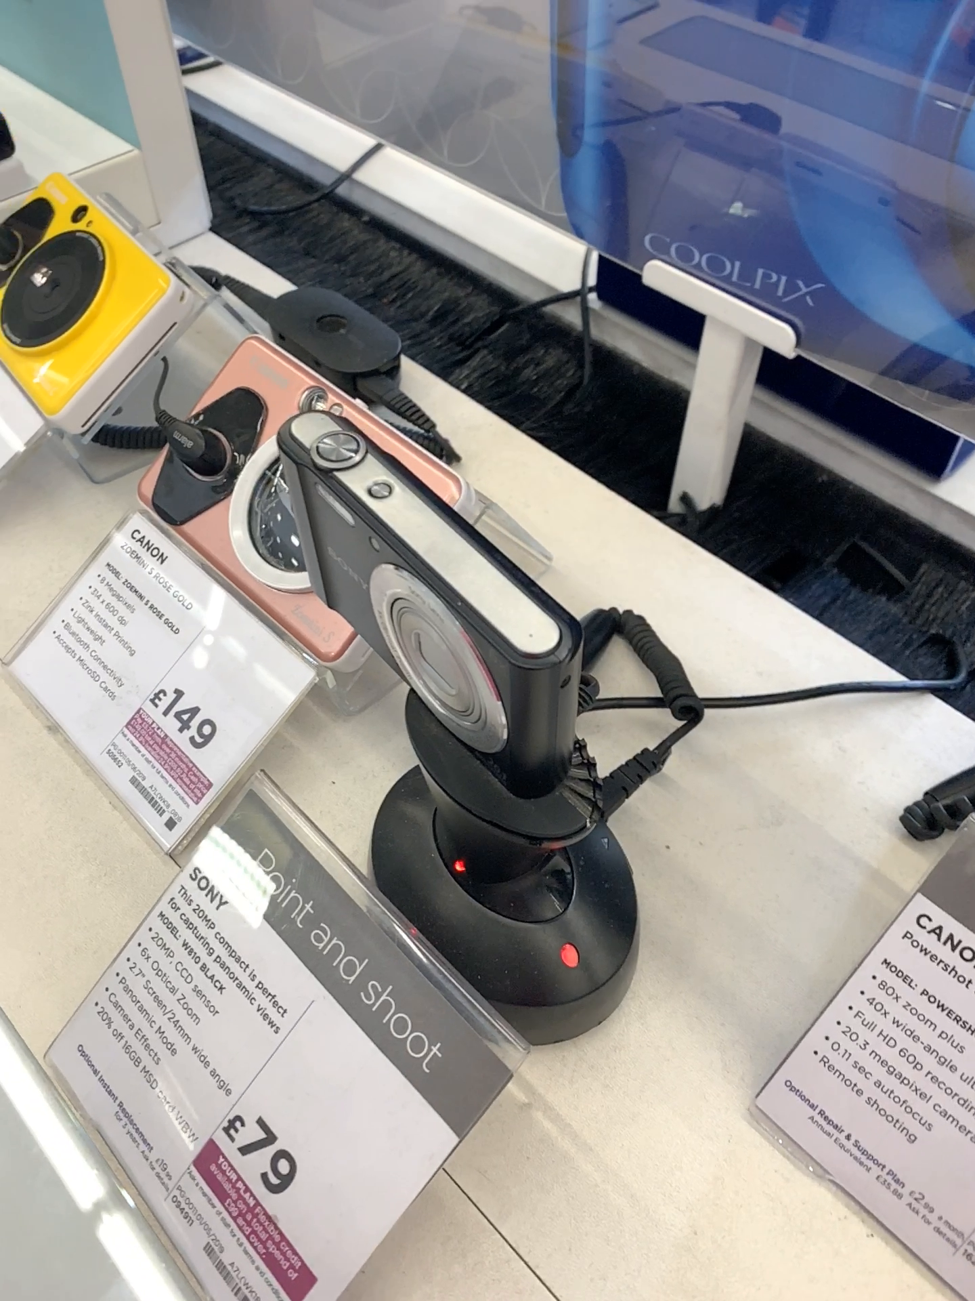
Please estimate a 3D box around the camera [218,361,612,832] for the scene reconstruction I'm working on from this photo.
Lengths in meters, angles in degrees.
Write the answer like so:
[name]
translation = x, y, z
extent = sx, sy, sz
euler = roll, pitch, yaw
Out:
[camera]
translation = -0.019, -0.015, 0.239
extent = 0.030, 0.060, 0.101
euler = -33, 58, -24
